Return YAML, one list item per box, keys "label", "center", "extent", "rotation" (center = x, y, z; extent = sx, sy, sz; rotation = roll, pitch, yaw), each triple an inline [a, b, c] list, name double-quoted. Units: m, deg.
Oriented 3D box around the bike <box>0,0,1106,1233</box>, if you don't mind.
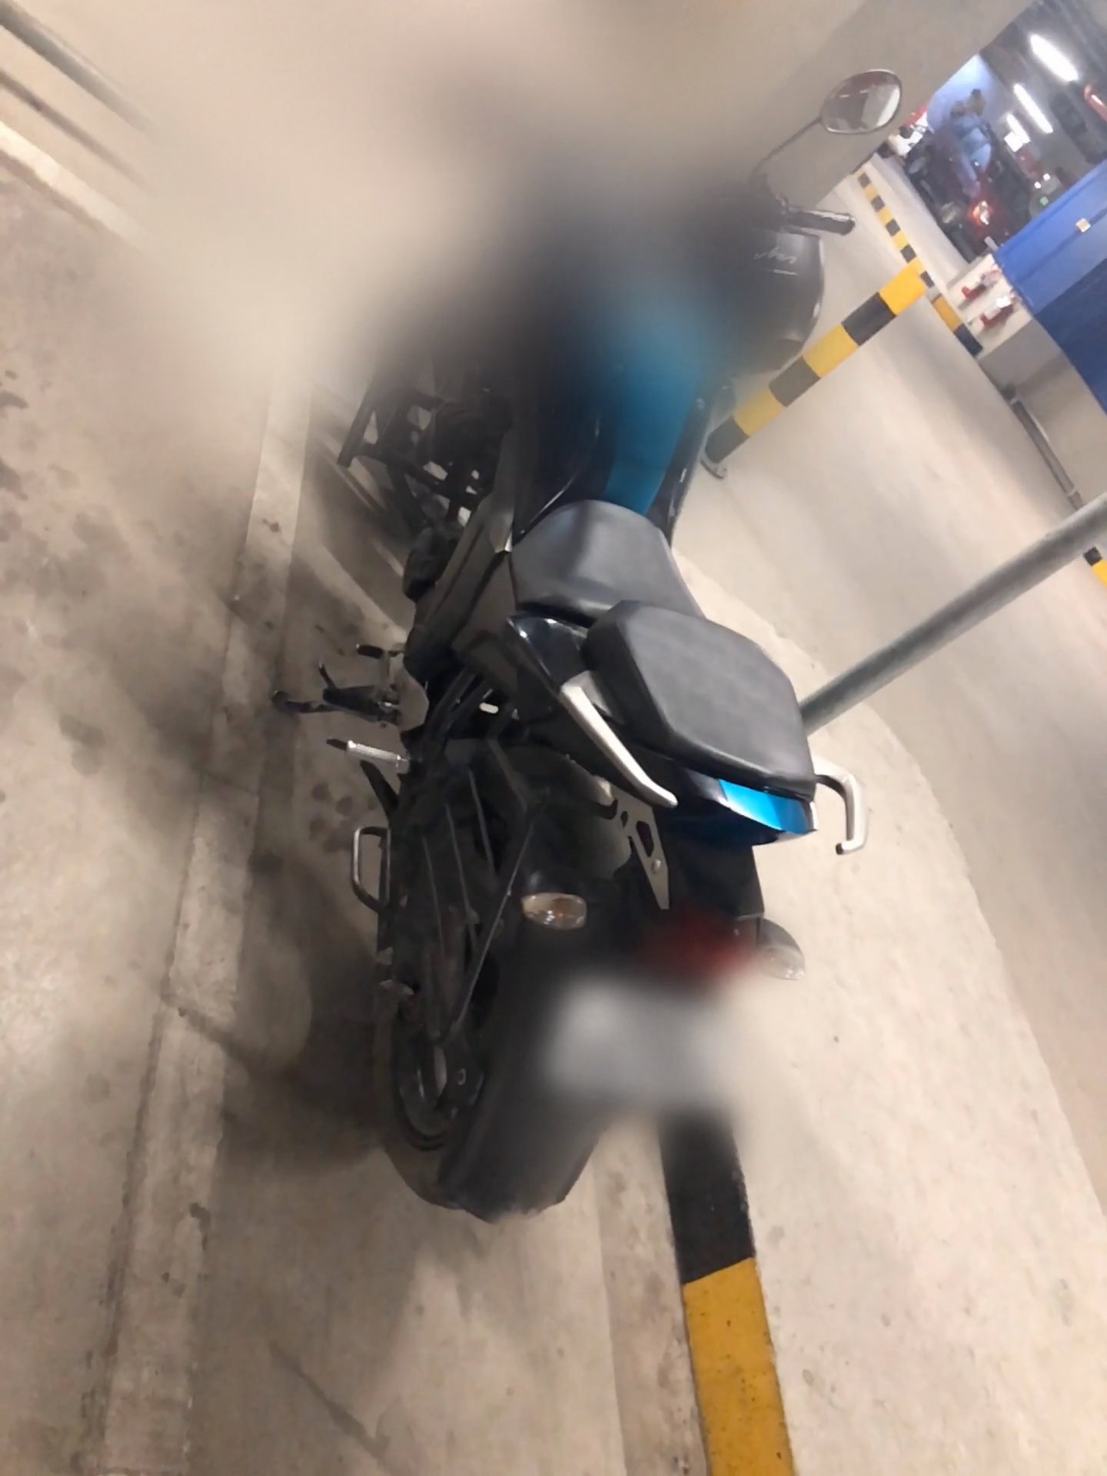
- label: "bike"
  center: [-0.048, -0.296, 1.610]
  extent: [0.767, 0.951, 1.419]
  rotation: [27, 38, -37]
